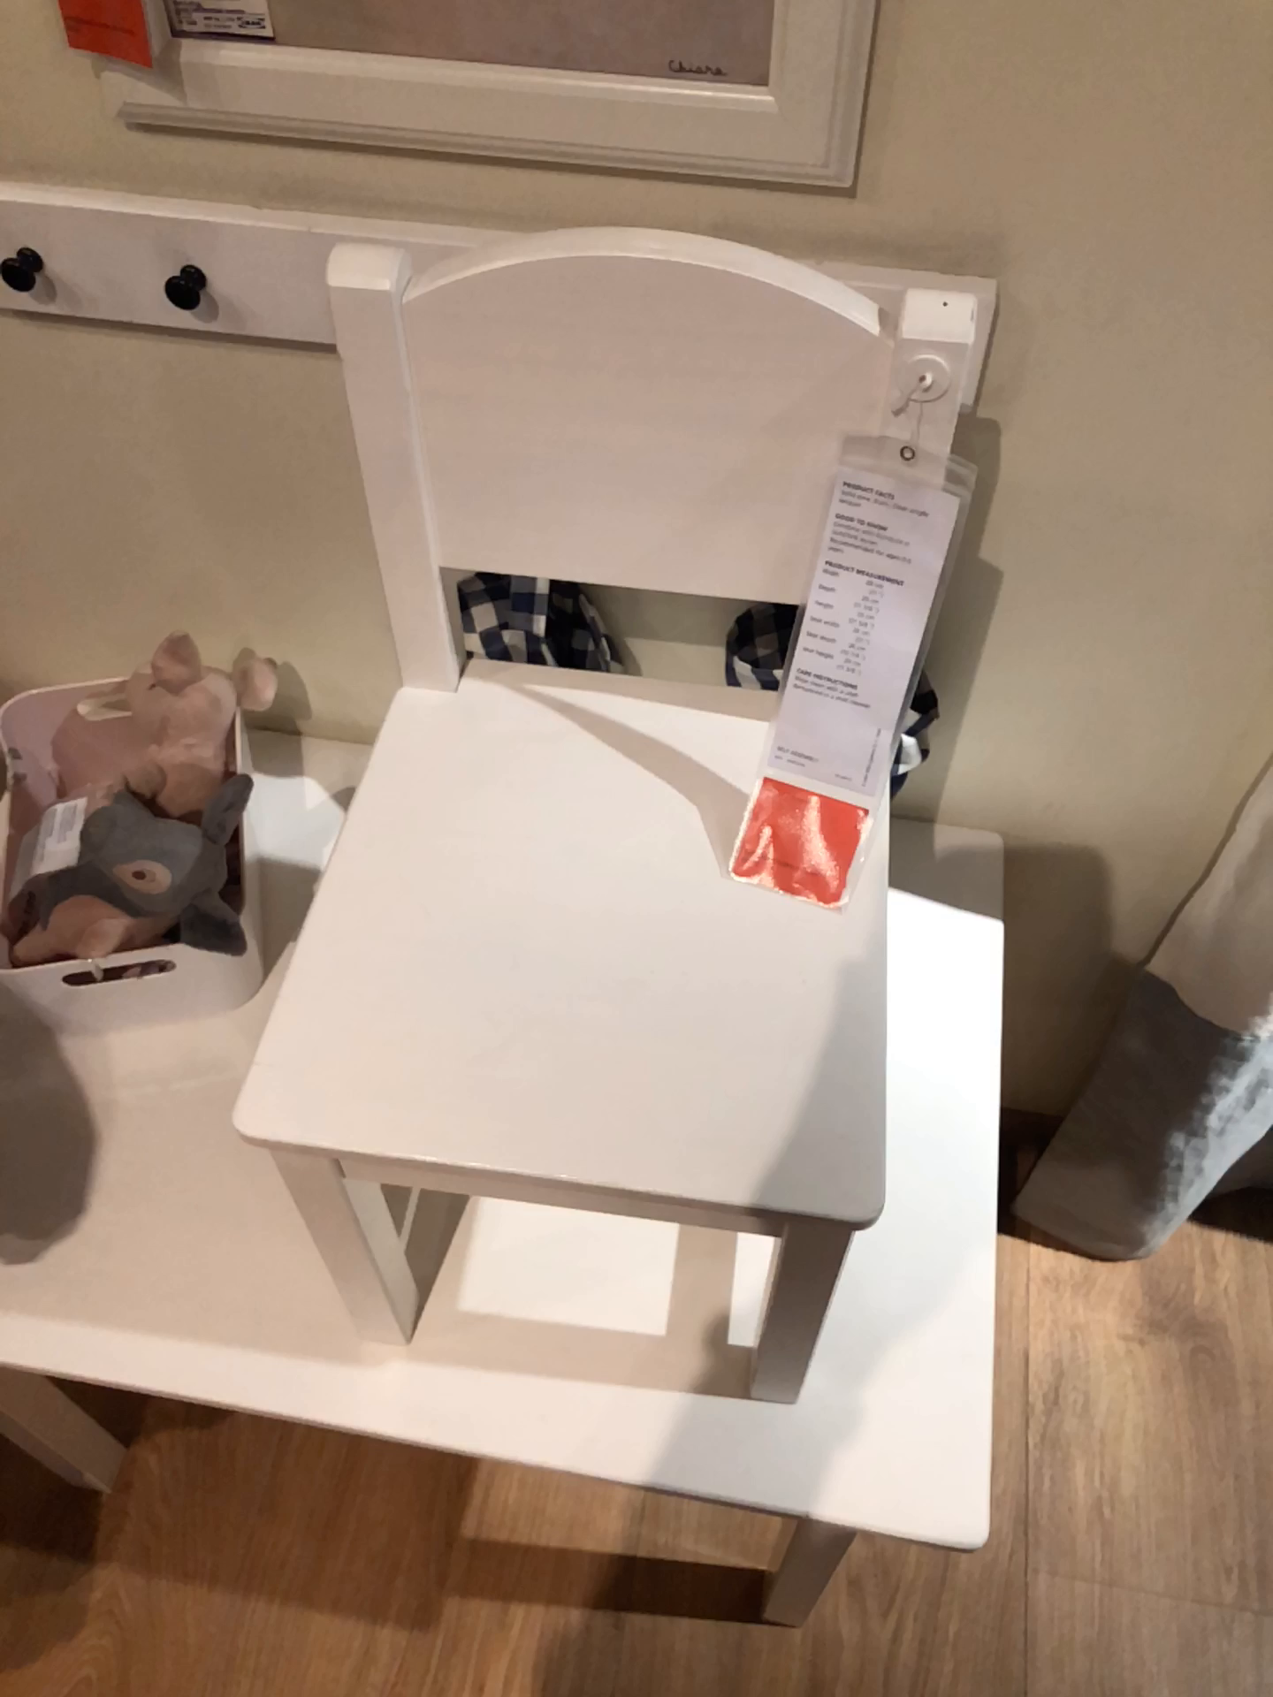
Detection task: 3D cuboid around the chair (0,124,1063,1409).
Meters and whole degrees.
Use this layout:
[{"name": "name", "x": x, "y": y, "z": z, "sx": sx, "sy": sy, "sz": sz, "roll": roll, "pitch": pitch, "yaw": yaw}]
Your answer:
[{"name": "chair", "x": -0.015, "y": 0.012, "z": 0.692, "sx": 0.300, "sy": 0.557, "sz": 0.322, "roll": 6, "pitch": 54, "yaw": 5}]
